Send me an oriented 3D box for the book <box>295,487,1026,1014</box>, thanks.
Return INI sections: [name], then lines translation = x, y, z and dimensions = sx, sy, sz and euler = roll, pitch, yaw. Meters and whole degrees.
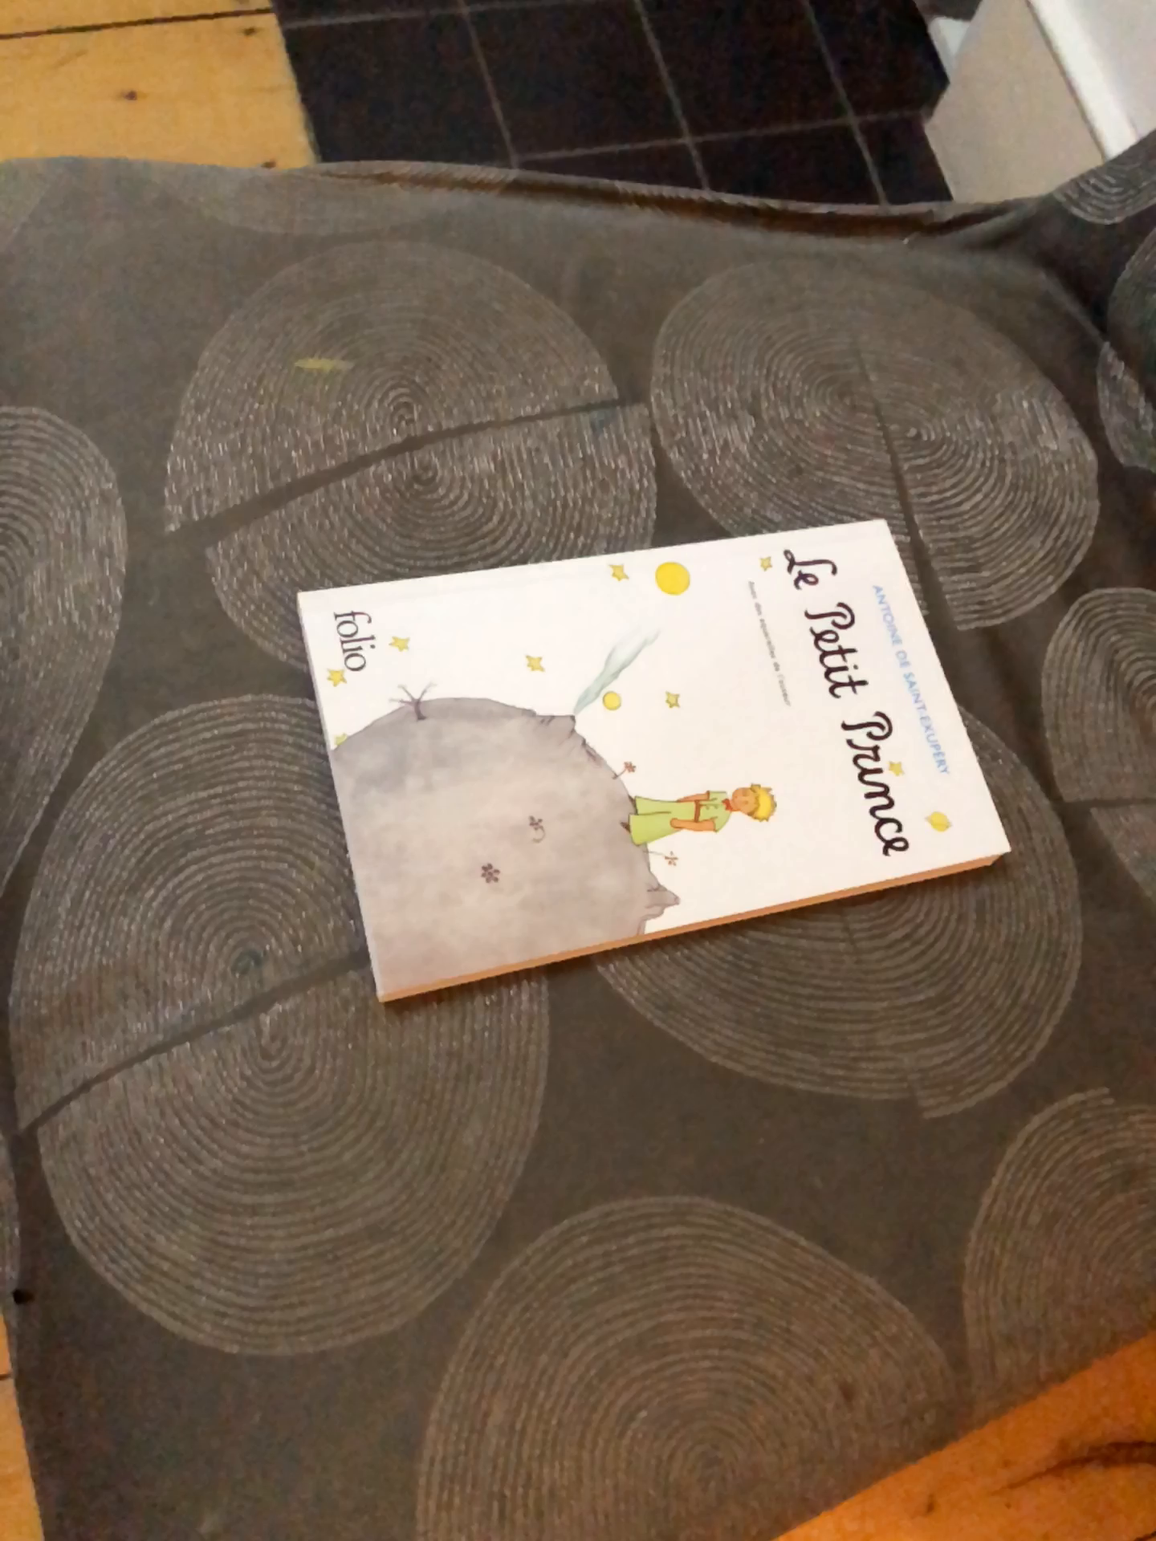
[book]
translation = 0.020, -0.009, 0.341
dimensions = 0.170, 0.030, 0.110
euler = -10, 75, -12
